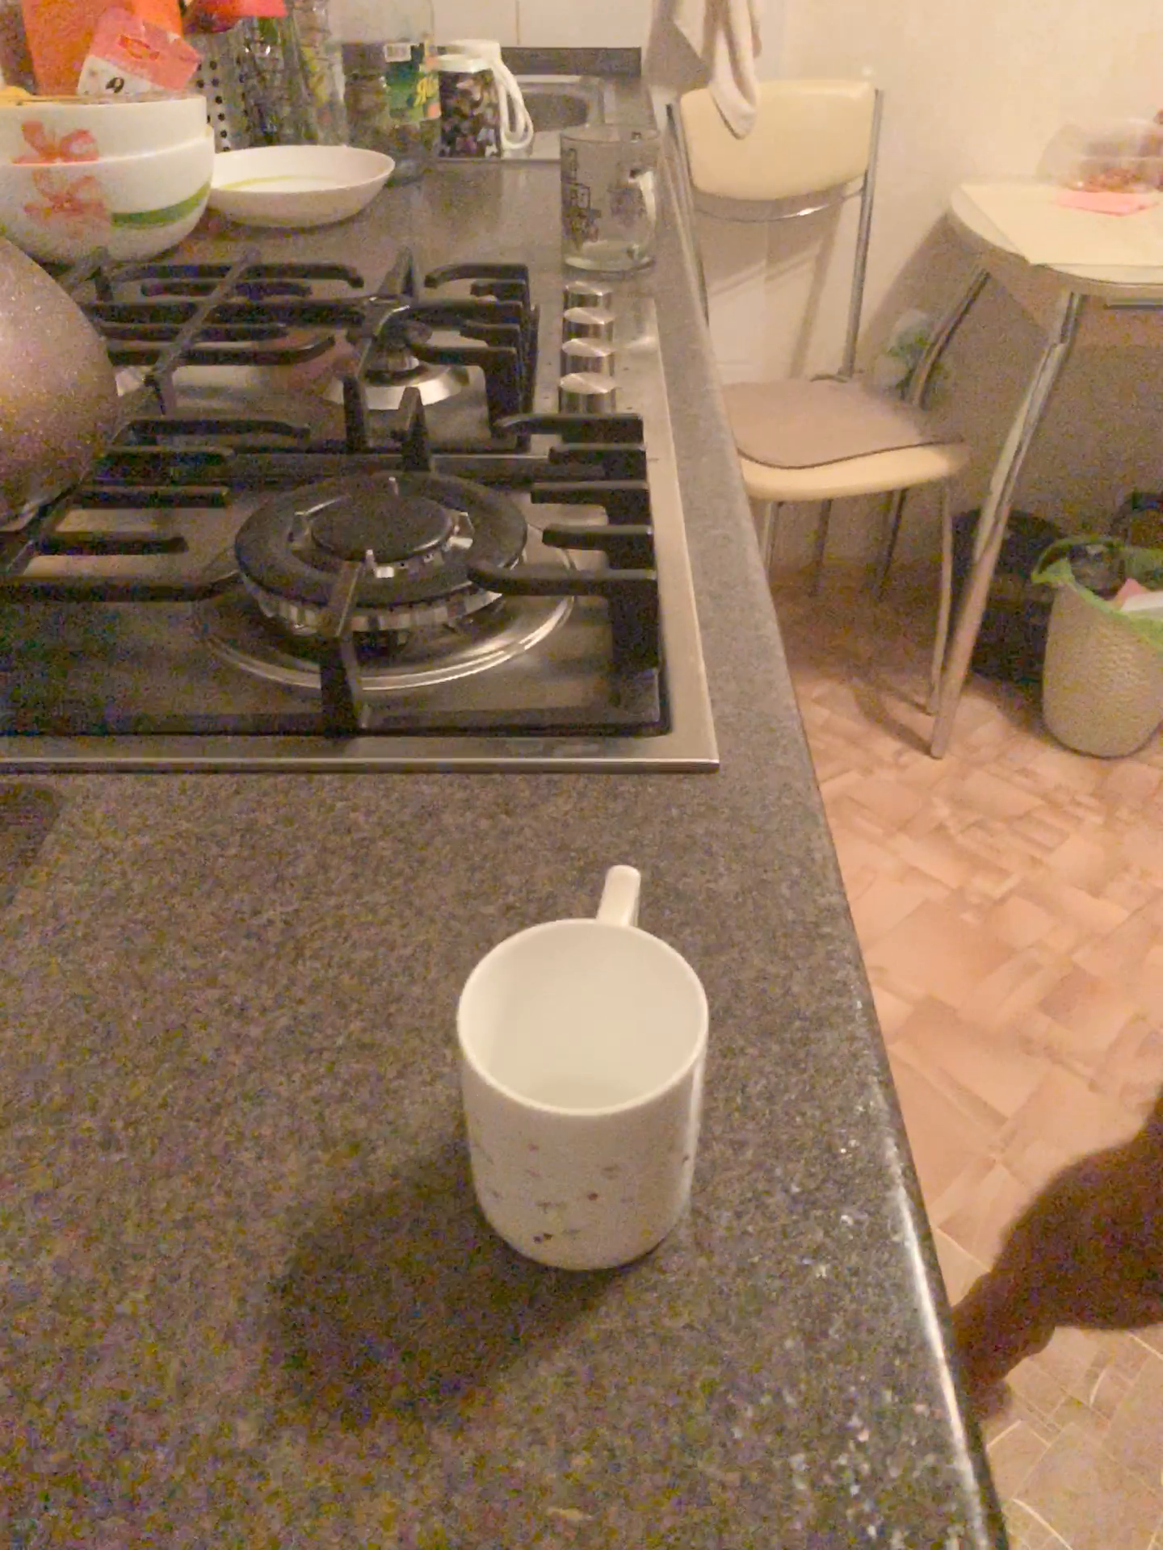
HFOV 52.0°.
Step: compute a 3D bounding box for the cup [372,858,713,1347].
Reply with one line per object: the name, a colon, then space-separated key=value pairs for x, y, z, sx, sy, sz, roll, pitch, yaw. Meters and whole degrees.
cup: x=-0.005 y=0.077 z=0.291 sx=0.060 sy=0.069 sz=0.081 roll=7 pitch=38 yaw=10
